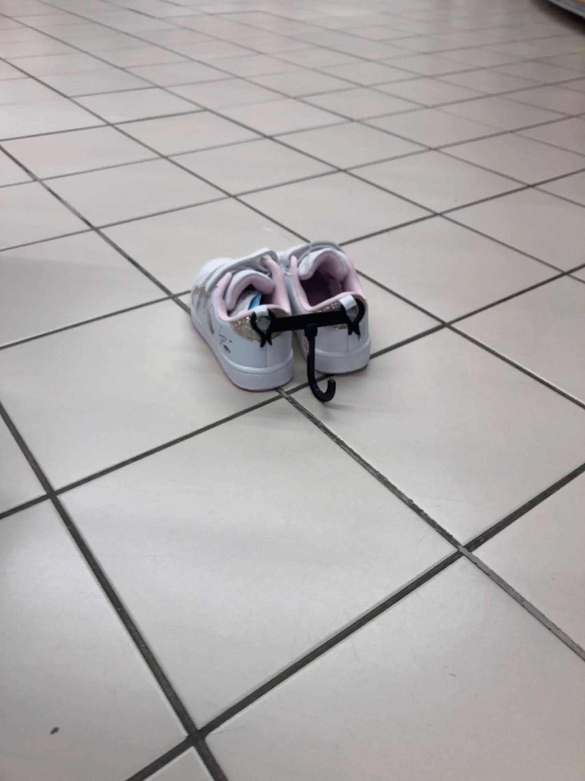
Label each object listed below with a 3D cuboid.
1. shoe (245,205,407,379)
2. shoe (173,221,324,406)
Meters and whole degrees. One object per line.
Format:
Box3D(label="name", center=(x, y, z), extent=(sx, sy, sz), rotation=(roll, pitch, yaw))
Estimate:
Box3D(label="shoe", center=(0.022, -0.103, 0.617), extent=(0.080, 0.070, 0.201), rotation=(-11, 39, -17))
Box3D(label="shoe", center=(-0.047, -0.080, 0.594), extent=(0.080, 0.070, 0.201), rotation=(-11, 39, -17))
